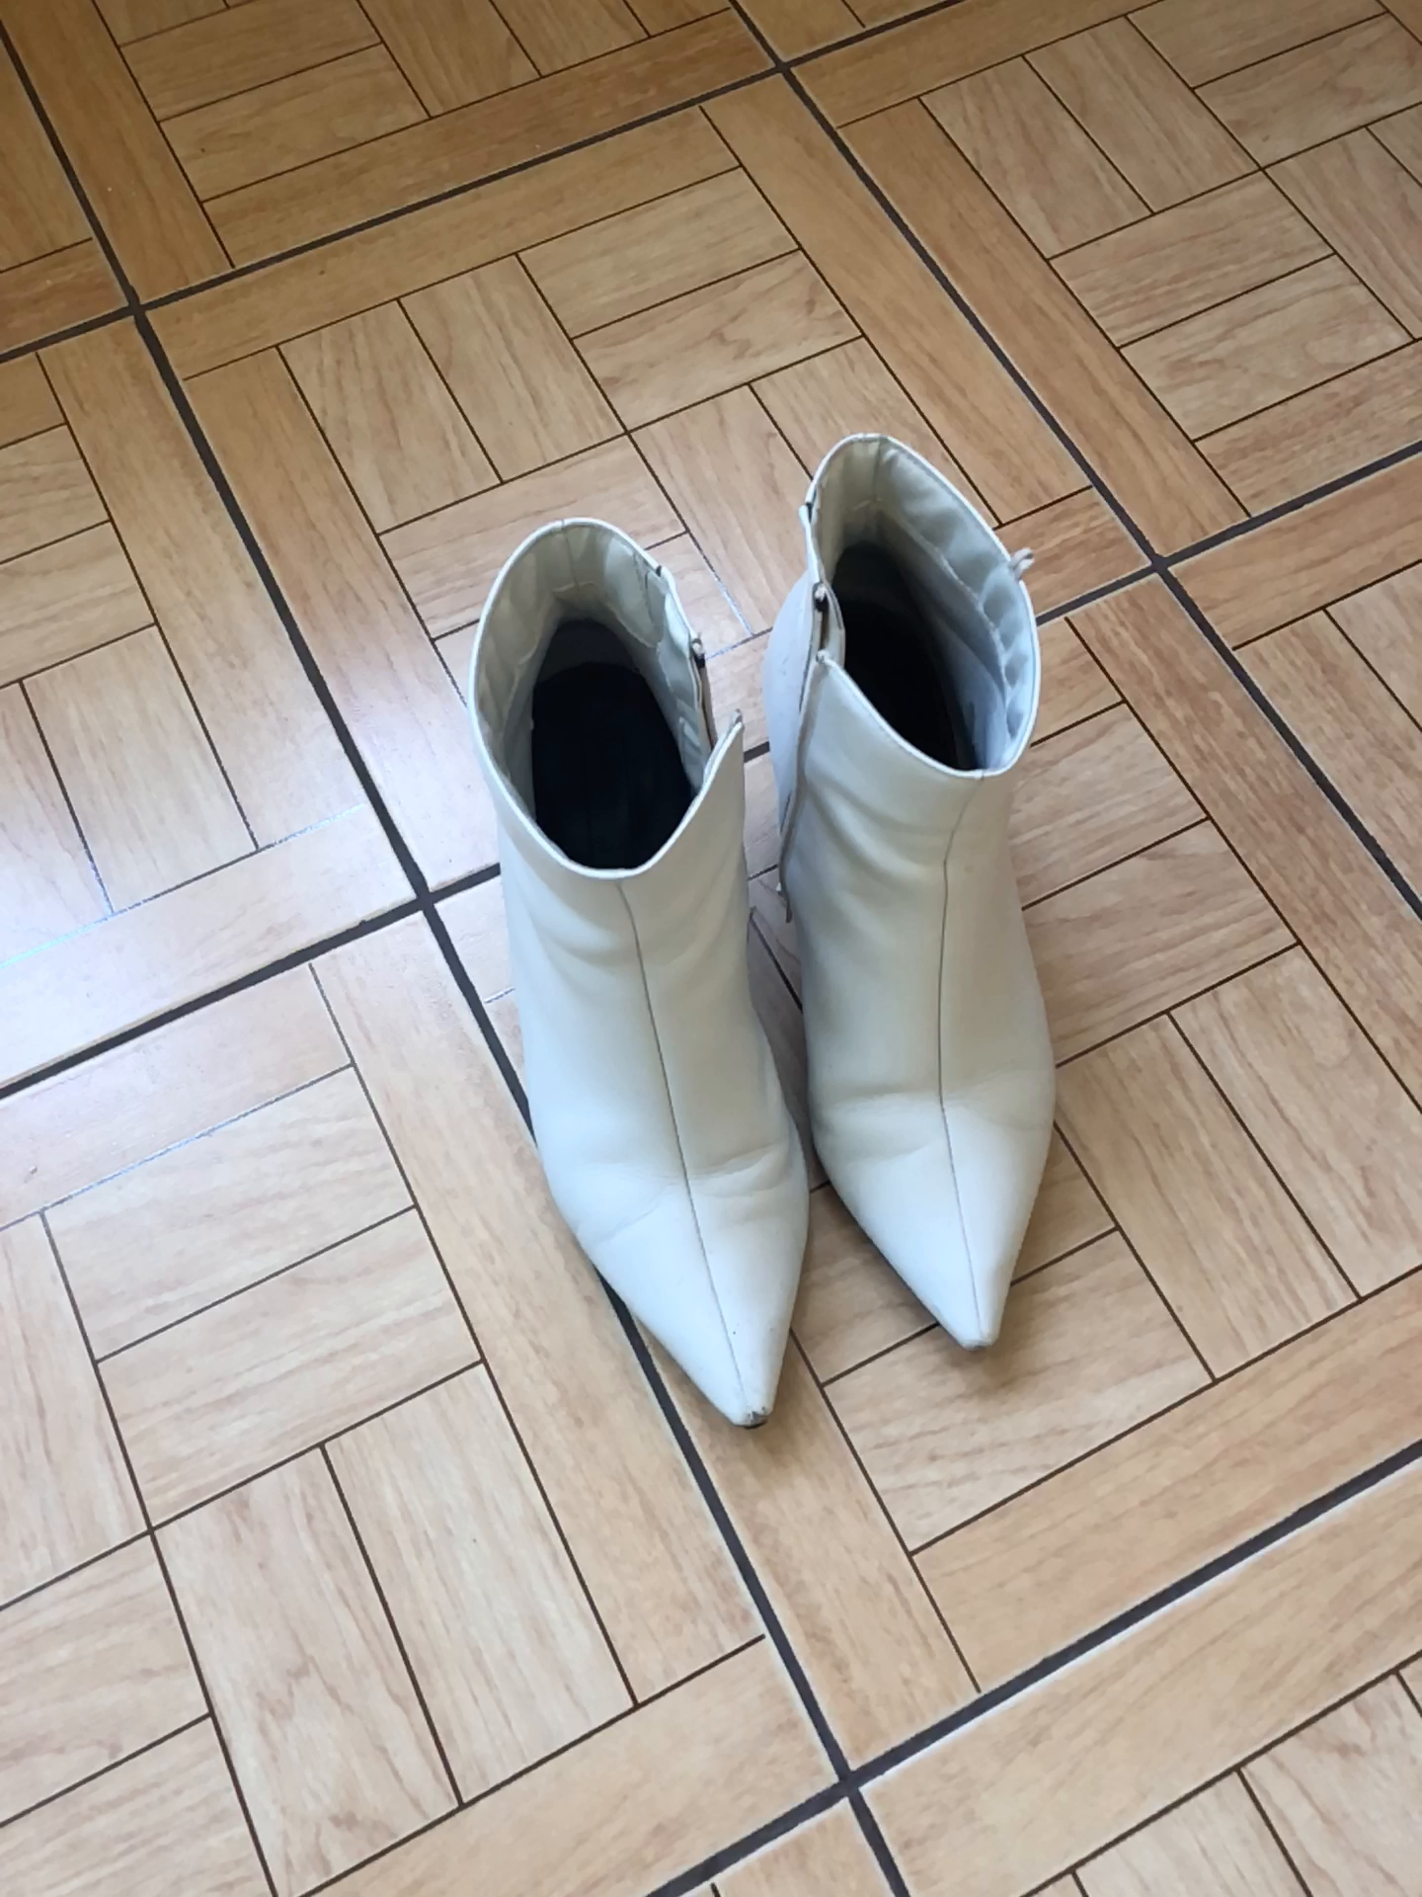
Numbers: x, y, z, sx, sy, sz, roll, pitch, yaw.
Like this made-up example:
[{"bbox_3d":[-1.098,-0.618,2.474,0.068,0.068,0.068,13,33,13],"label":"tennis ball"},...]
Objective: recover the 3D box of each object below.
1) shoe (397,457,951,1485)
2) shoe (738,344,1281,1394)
[{"bbox_3d":[-0.017,0.013,0.468,0.100,0.155,0.254,-9,67,-4],"label":"shoe"},{"bbox_3d":[0.070,-0.019,0.480,0.100,0.155,0.274,-4,67,-1],"label":"shoe"}]
